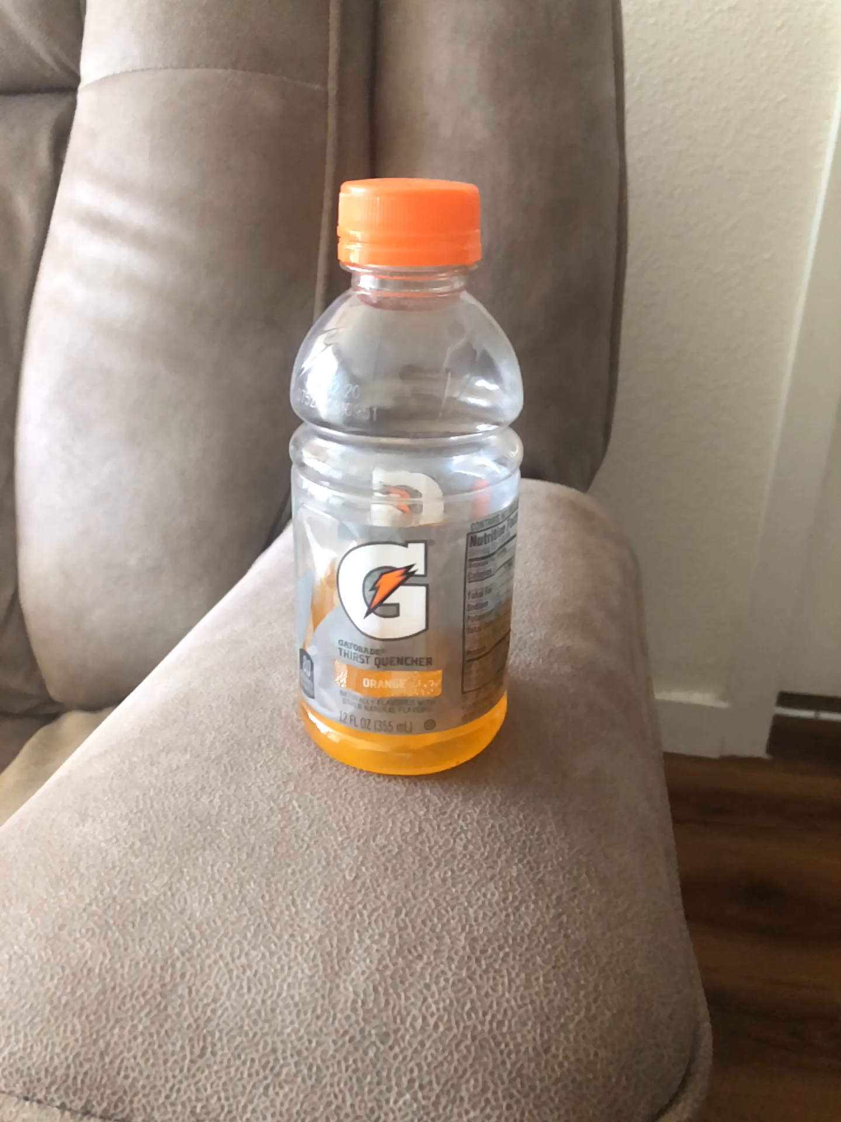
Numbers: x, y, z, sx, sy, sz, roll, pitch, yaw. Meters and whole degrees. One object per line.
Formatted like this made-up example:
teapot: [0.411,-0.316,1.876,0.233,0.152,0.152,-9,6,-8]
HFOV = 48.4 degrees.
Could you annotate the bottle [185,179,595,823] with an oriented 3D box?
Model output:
bottle: [-0.005,-0.019,0.257,0.070,0.149,0.070,0,28,0]
